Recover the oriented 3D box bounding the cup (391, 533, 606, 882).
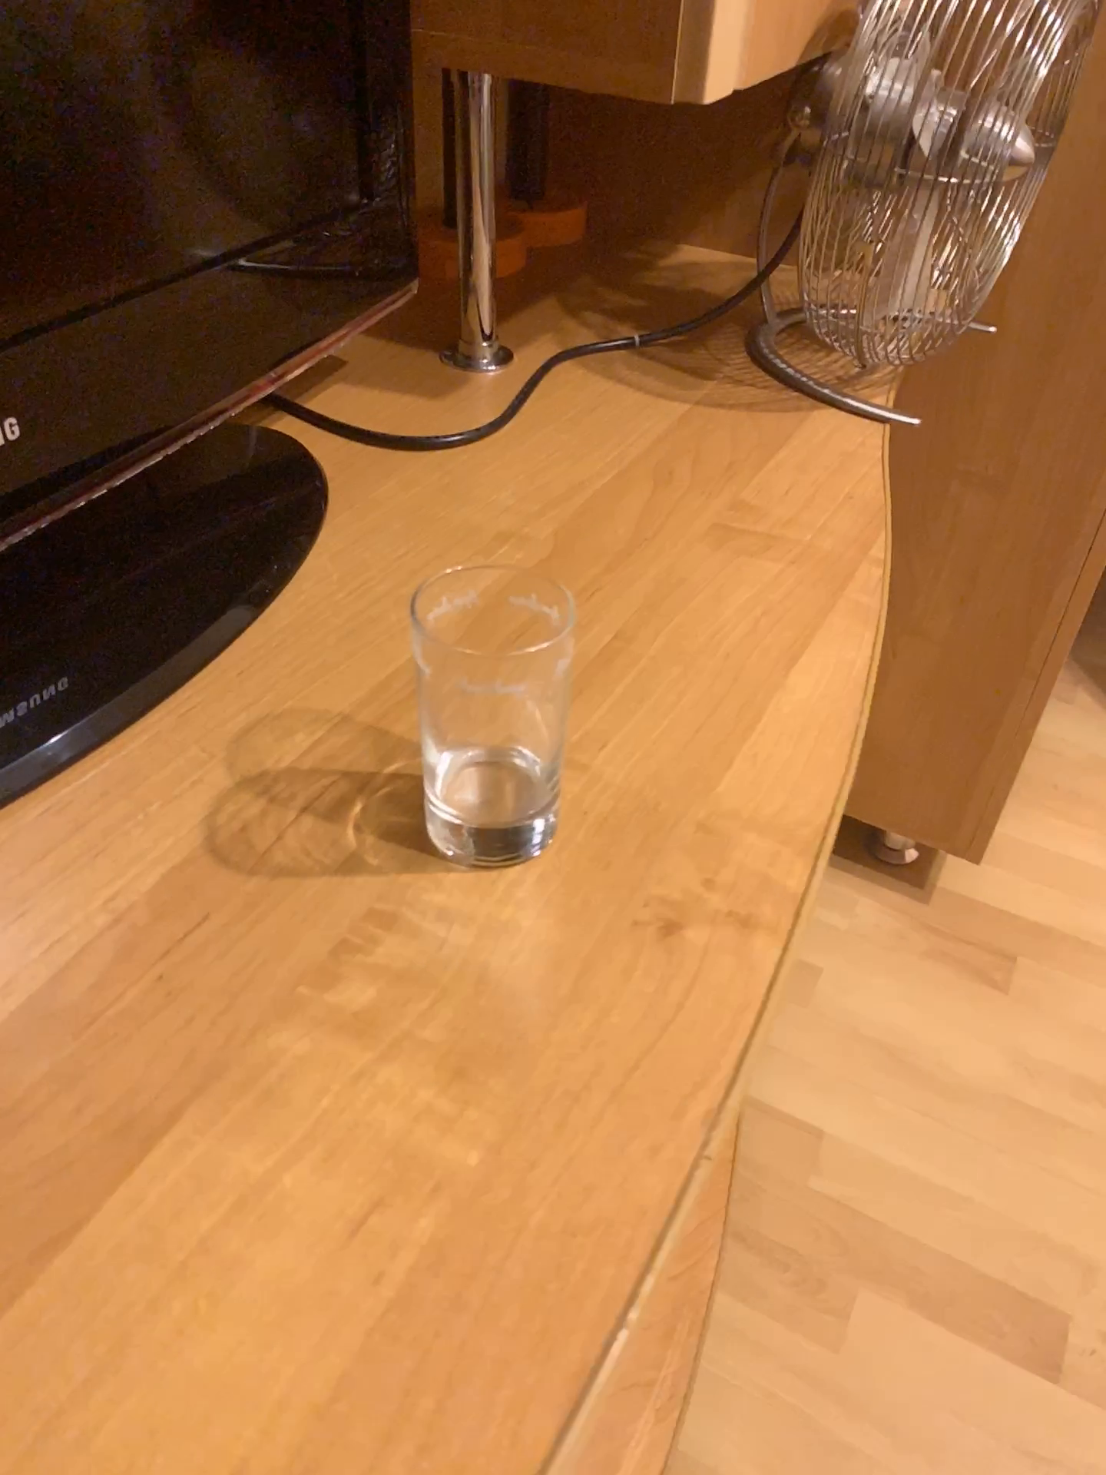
[{"bbox_3d":[-0.021,-0.010,0.390,0.060,0.099,0.061,2,39,-1],"label":"cup"}]
